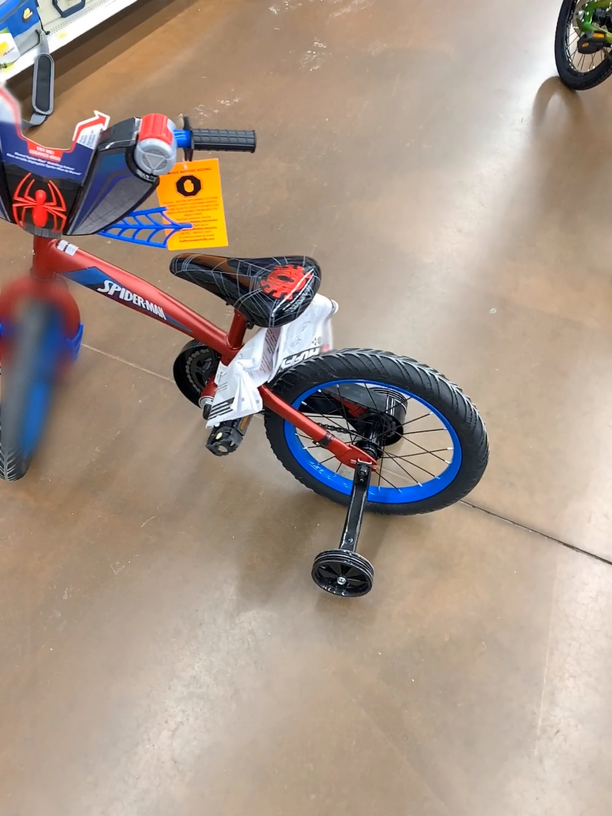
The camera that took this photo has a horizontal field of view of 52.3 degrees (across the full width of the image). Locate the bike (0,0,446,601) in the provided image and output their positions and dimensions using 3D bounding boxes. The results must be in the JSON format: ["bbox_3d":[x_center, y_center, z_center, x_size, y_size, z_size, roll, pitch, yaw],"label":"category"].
[{"bbox_3d":[-0.182,-0.113,0.805,0.565,0.709,0.477,4,52,4],"label":"bike"}]
